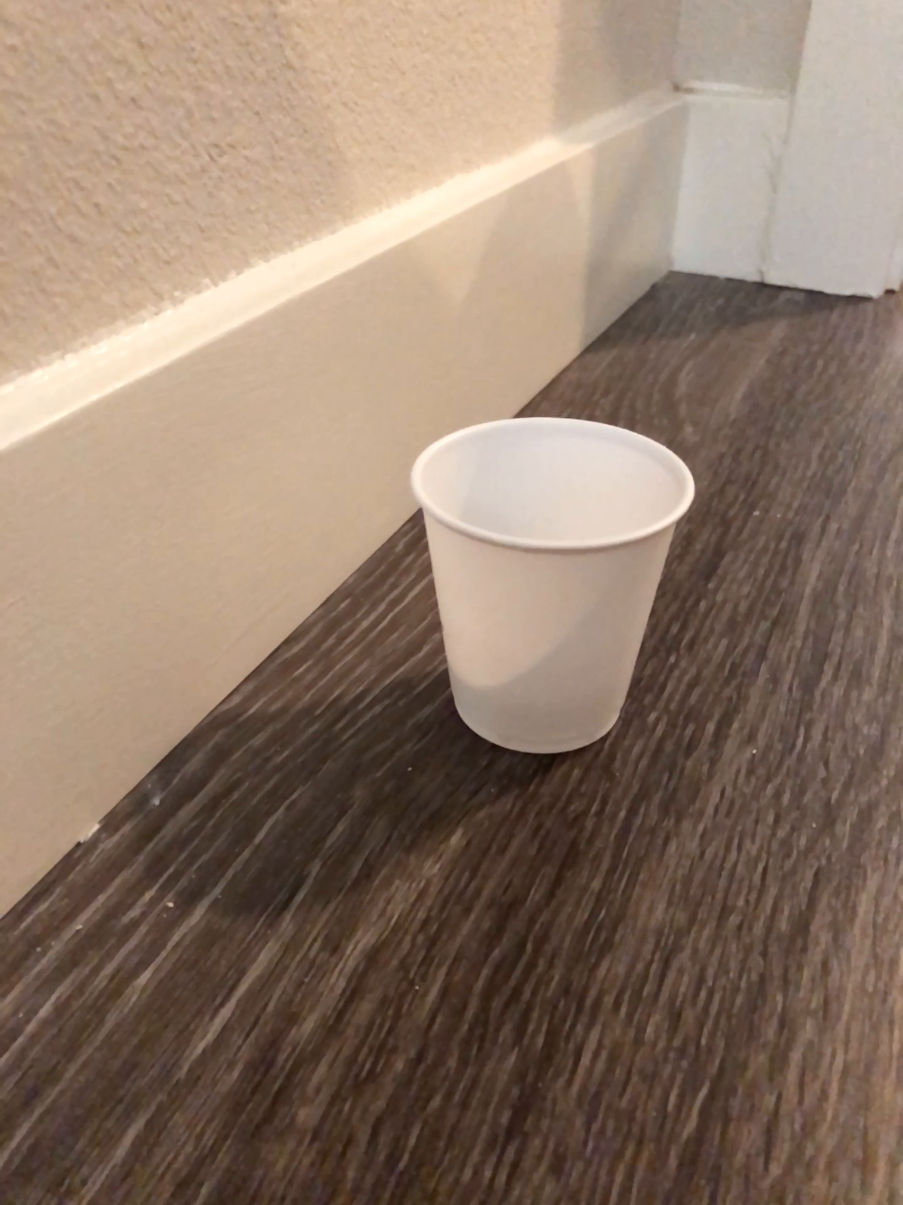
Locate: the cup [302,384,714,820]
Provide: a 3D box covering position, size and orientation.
[{"bbox_3d":[0.012,-0.004,0.224,0.060,0.060,0.060,0,33,0],"label":"cup"}]
